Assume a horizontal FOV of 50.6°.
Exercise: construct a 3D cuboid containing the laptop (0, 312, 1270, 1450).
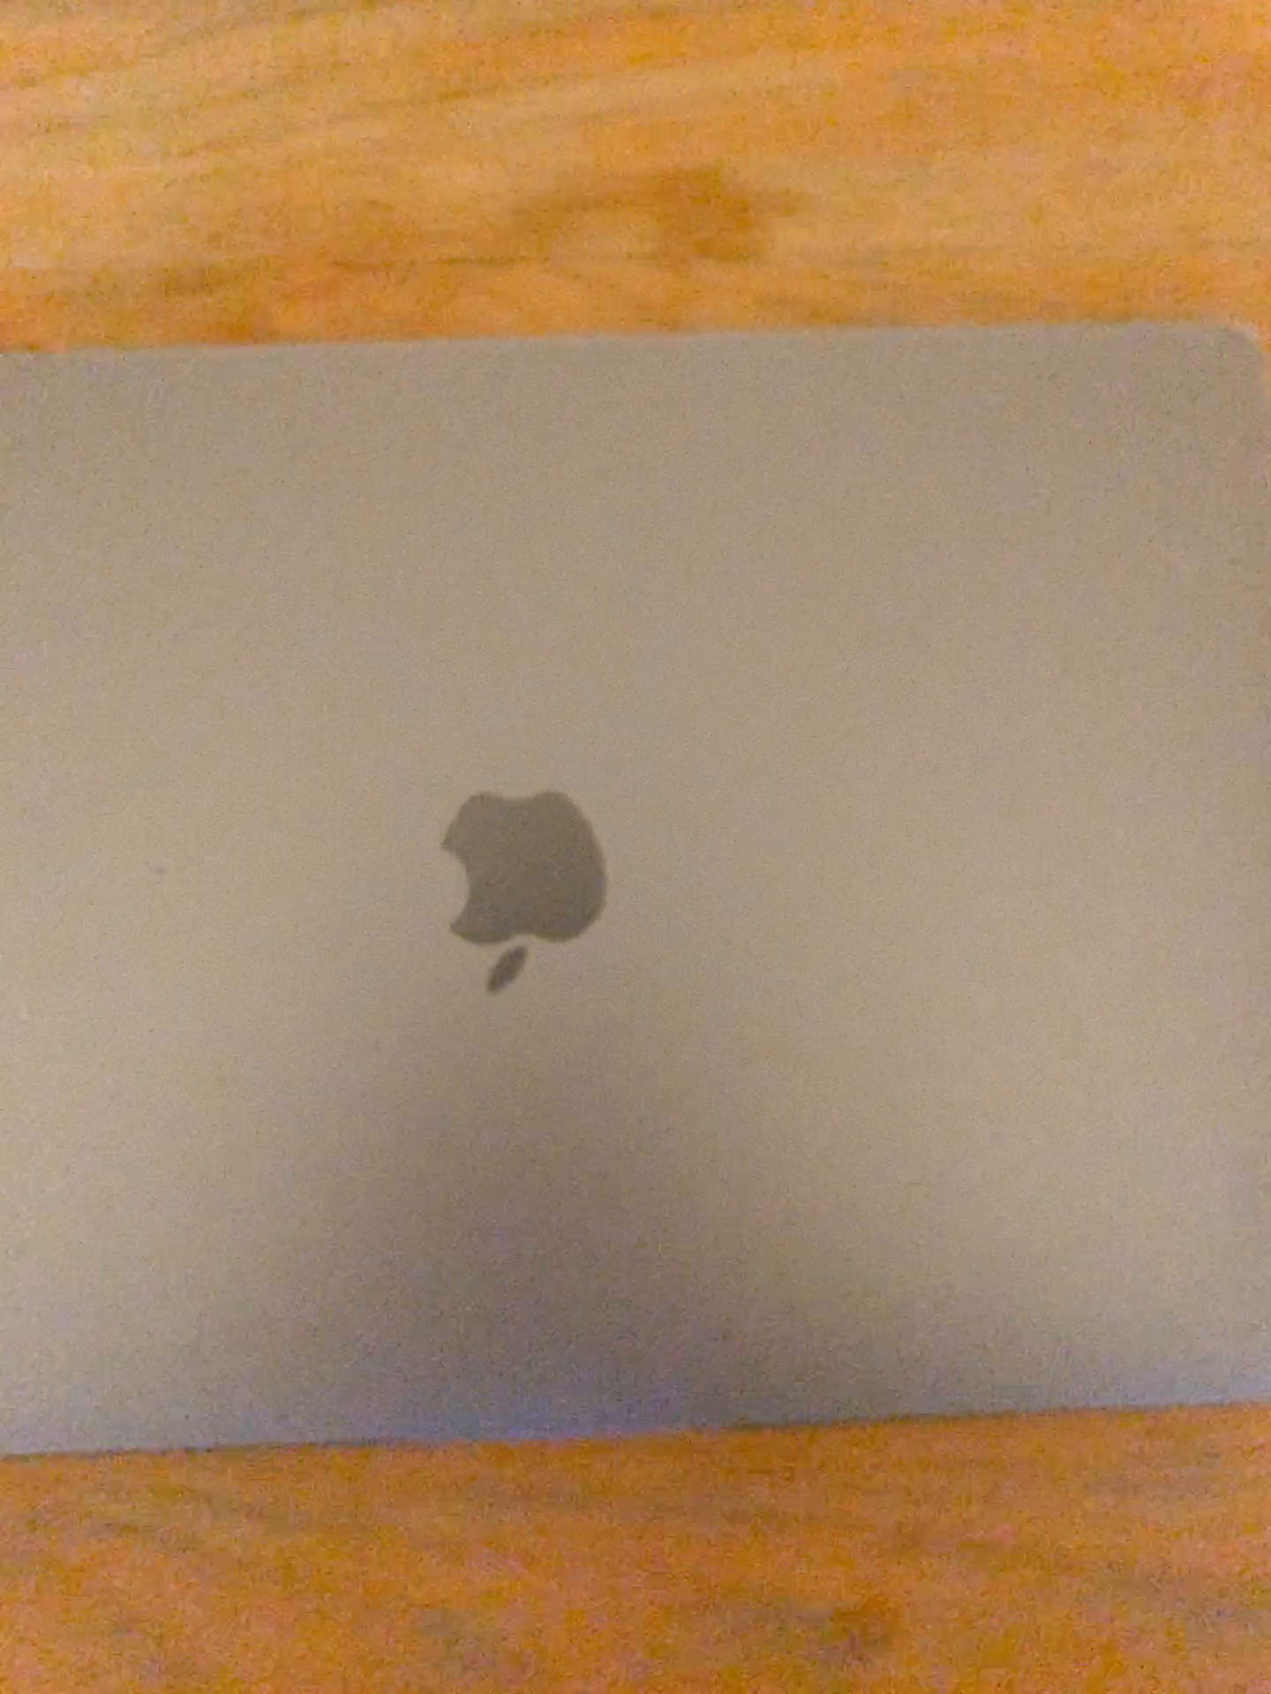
[{"bbox_3d":[-0.020,0.005,0.259,0.292,0.005,0.210,-2,87,1],"label":"laptop"}]
